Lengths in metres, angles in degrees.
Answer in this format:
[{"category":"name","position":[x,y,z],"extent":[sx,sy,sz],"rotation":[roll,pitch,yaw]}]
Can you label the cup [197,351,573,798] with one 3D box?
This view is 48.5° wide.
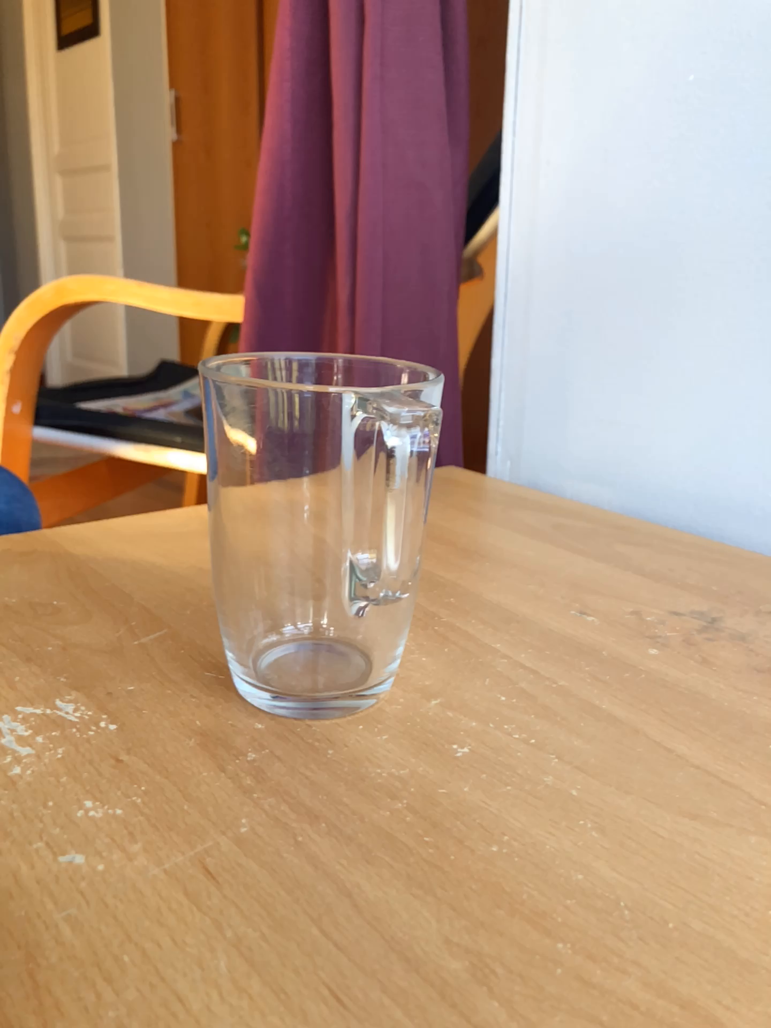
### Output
[{"category":"cup","position":[-0.009,0.006,0.265],"extent":[0.078,0.103,0.103],"rotation":[-4,16,-22]}]
